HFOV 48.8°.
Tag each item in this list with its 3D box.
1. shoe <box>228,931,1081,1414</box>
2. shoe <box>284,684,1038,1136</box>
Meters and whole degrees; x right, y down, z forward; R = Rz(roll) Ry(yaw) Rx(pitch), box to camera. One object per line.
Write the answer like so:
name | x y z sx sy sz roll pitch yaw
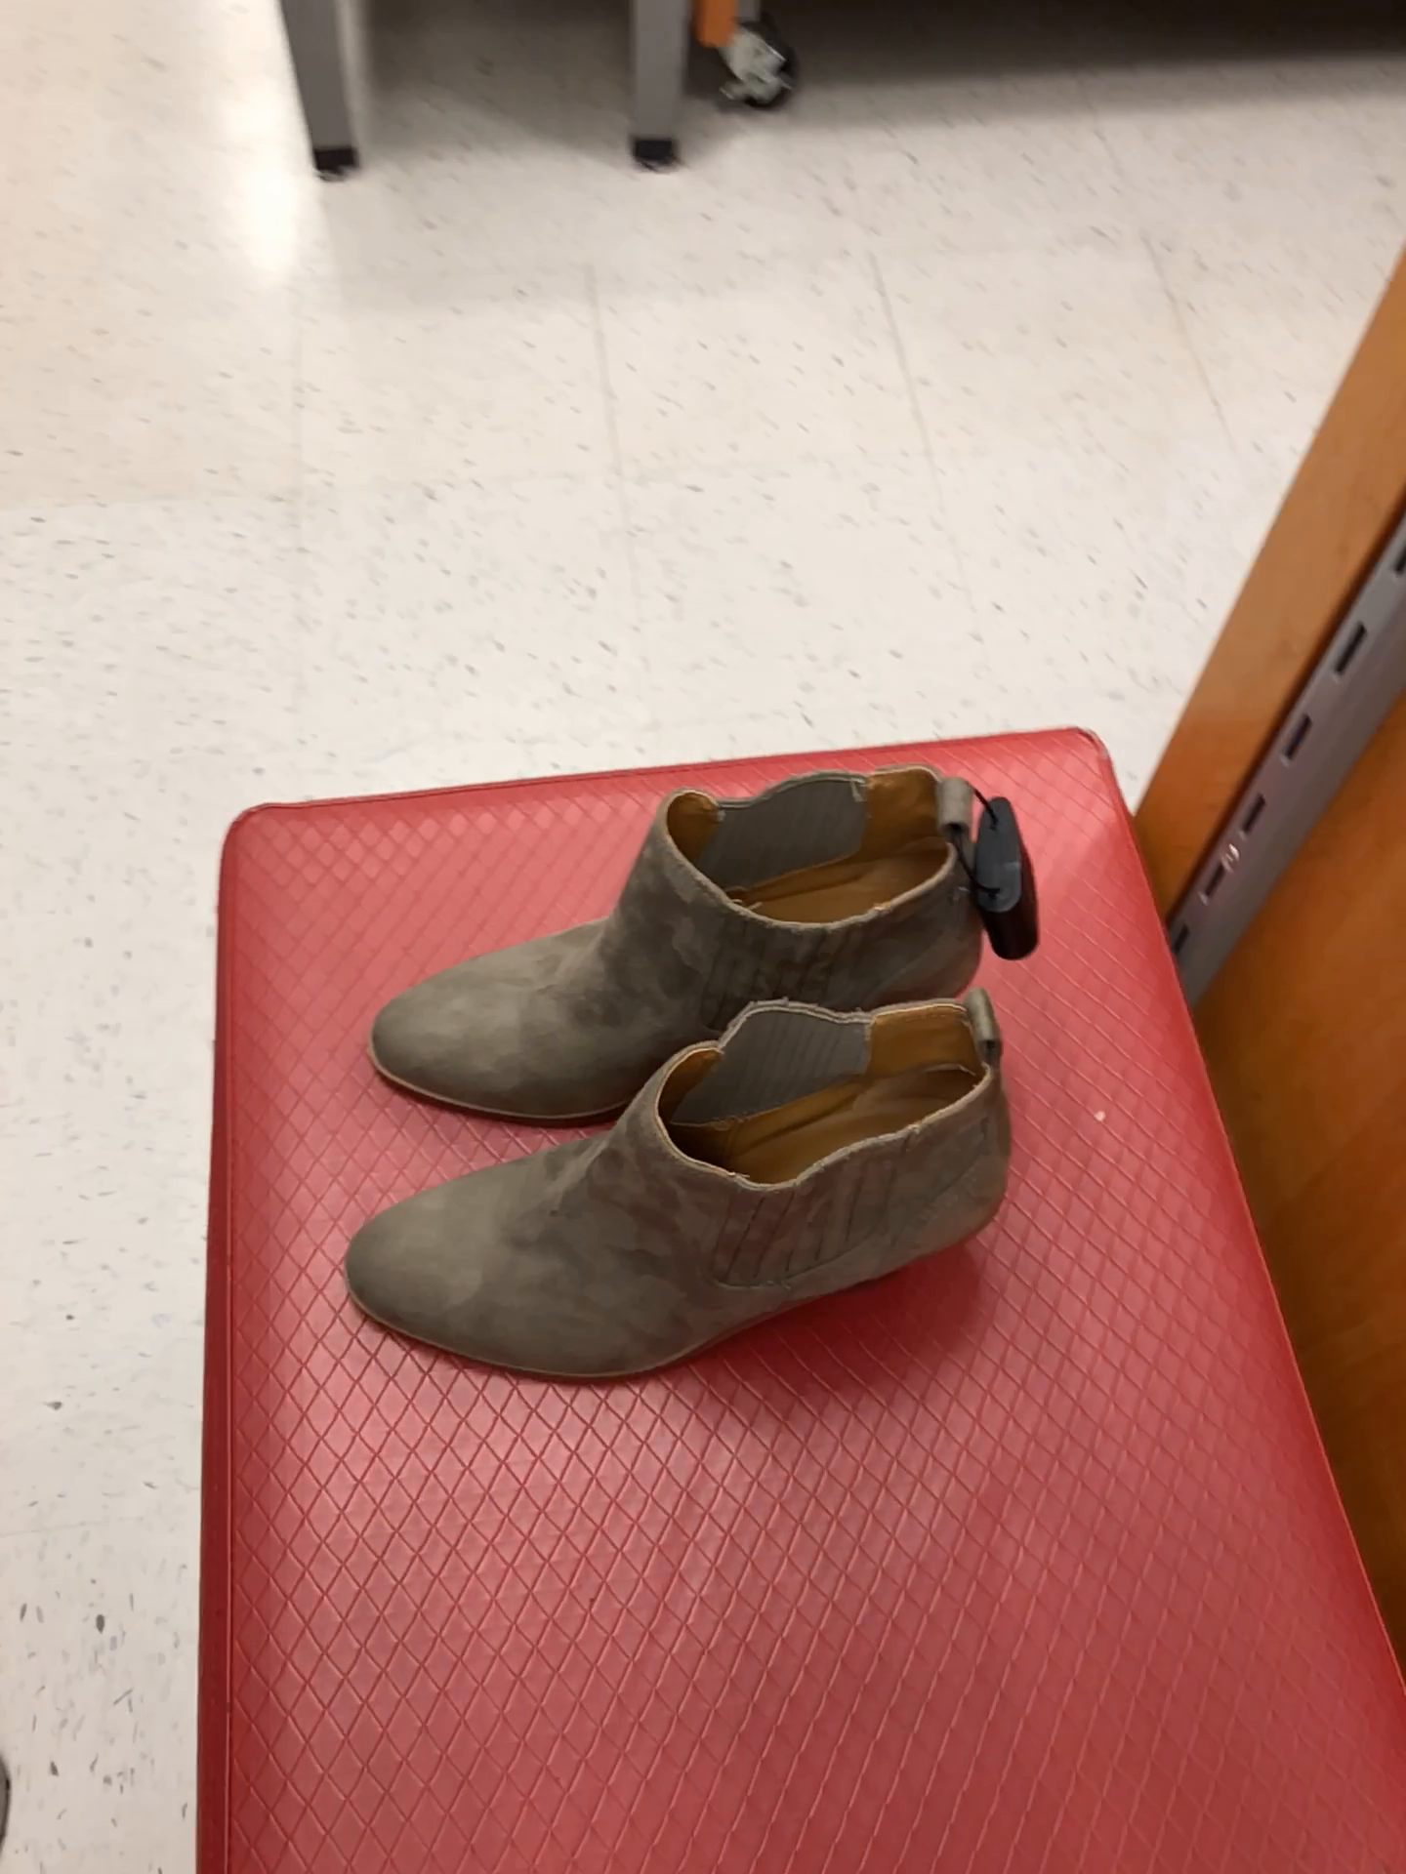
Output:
shoe | -0.018 0.088 0.546 0.250 0.150 0.107 -3 60 -4
shoe | -0.018 -0.005 0.607 0.250 0.160 0.097 -3 60 -4
